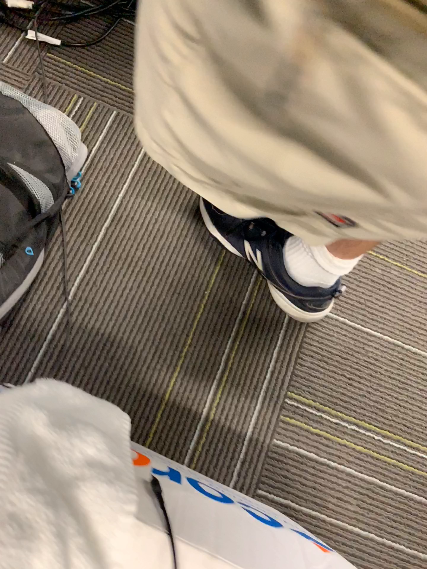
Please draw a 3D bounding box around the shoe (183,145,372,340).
[{"bbox_3d":[0.096,-0.067,0.711,0.120,0.077,0.297,-39,84,-17],"label":"shoe"}]

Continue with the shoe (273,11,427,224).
[{"bbox_3d":[0.226,-0.238,0.696,0.122,0.293,0.129,44,71,3],"label":"shoe"}]
